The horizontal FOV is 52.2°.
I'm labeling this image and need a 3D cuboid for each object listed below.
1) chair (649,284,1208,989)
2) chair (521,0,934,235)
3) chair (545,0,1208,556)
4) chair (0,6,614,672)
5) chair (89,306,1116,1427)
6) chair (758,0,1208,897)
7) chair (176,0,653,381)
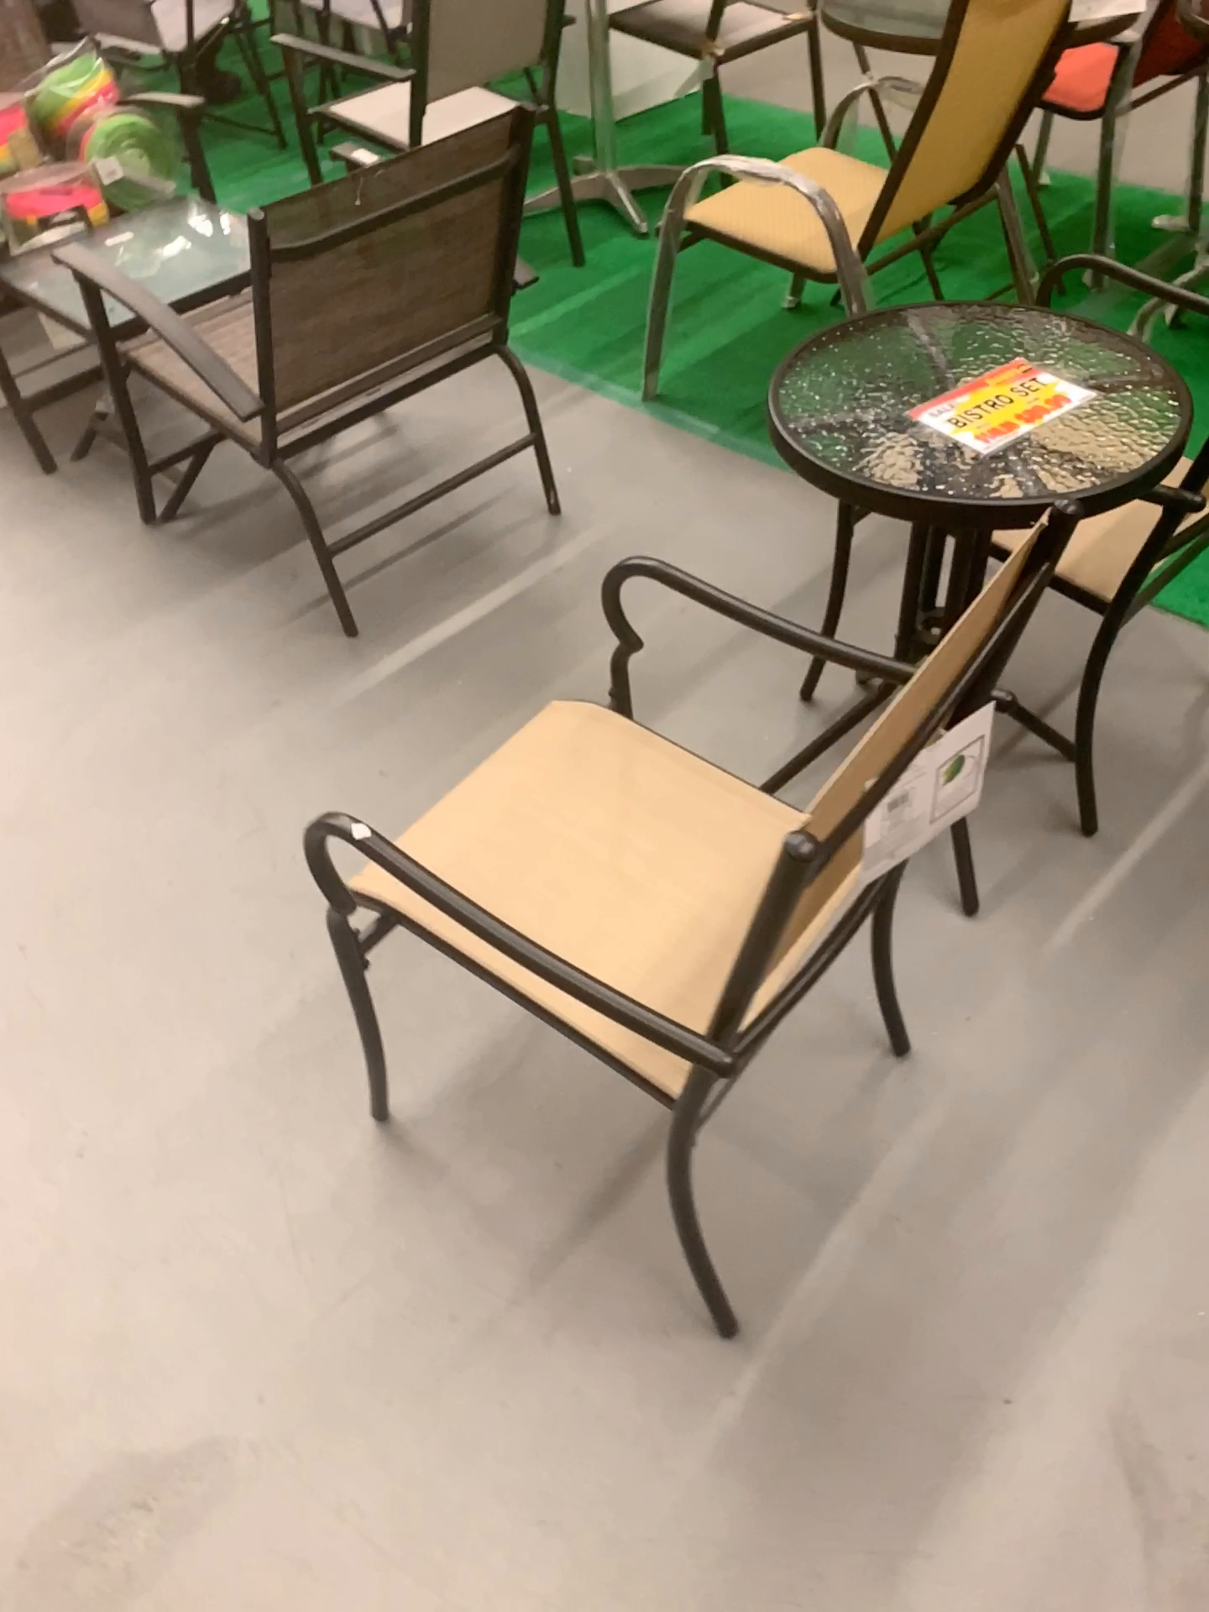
[{"bbox_3d":[0.451,-0.245,1.695,0.546,0.634,0.525,31,55,30],"label":"chair"},{"bbox_3d":[0.351,-2.349,3.653,0.887,0.873,0.676,32,56,31],"label":"chair"},{"bbox_3d":[0.570,-1.293,2.531,1.028,0.982,0.806,32,56,31],"label":"chair"},{"bbox_3d":[-0.559,-0.913,2.334,0.887,0.803,0.676,32,56,31],"label":"chair"},{"bbox_3d":[0.032,0.069,1.308,0.616,0.863,0.576,26,53,27],"label":"chair"},{"bbox_3d":[0.689,-0.515,1.774,0.677,0.922,0.616,31,56,31],"label":"chair"},{"bbox_3d":[-0.444,-1.800,3.216,0.887,0.922,0.676,32,56,31],"label":"chair"}]
